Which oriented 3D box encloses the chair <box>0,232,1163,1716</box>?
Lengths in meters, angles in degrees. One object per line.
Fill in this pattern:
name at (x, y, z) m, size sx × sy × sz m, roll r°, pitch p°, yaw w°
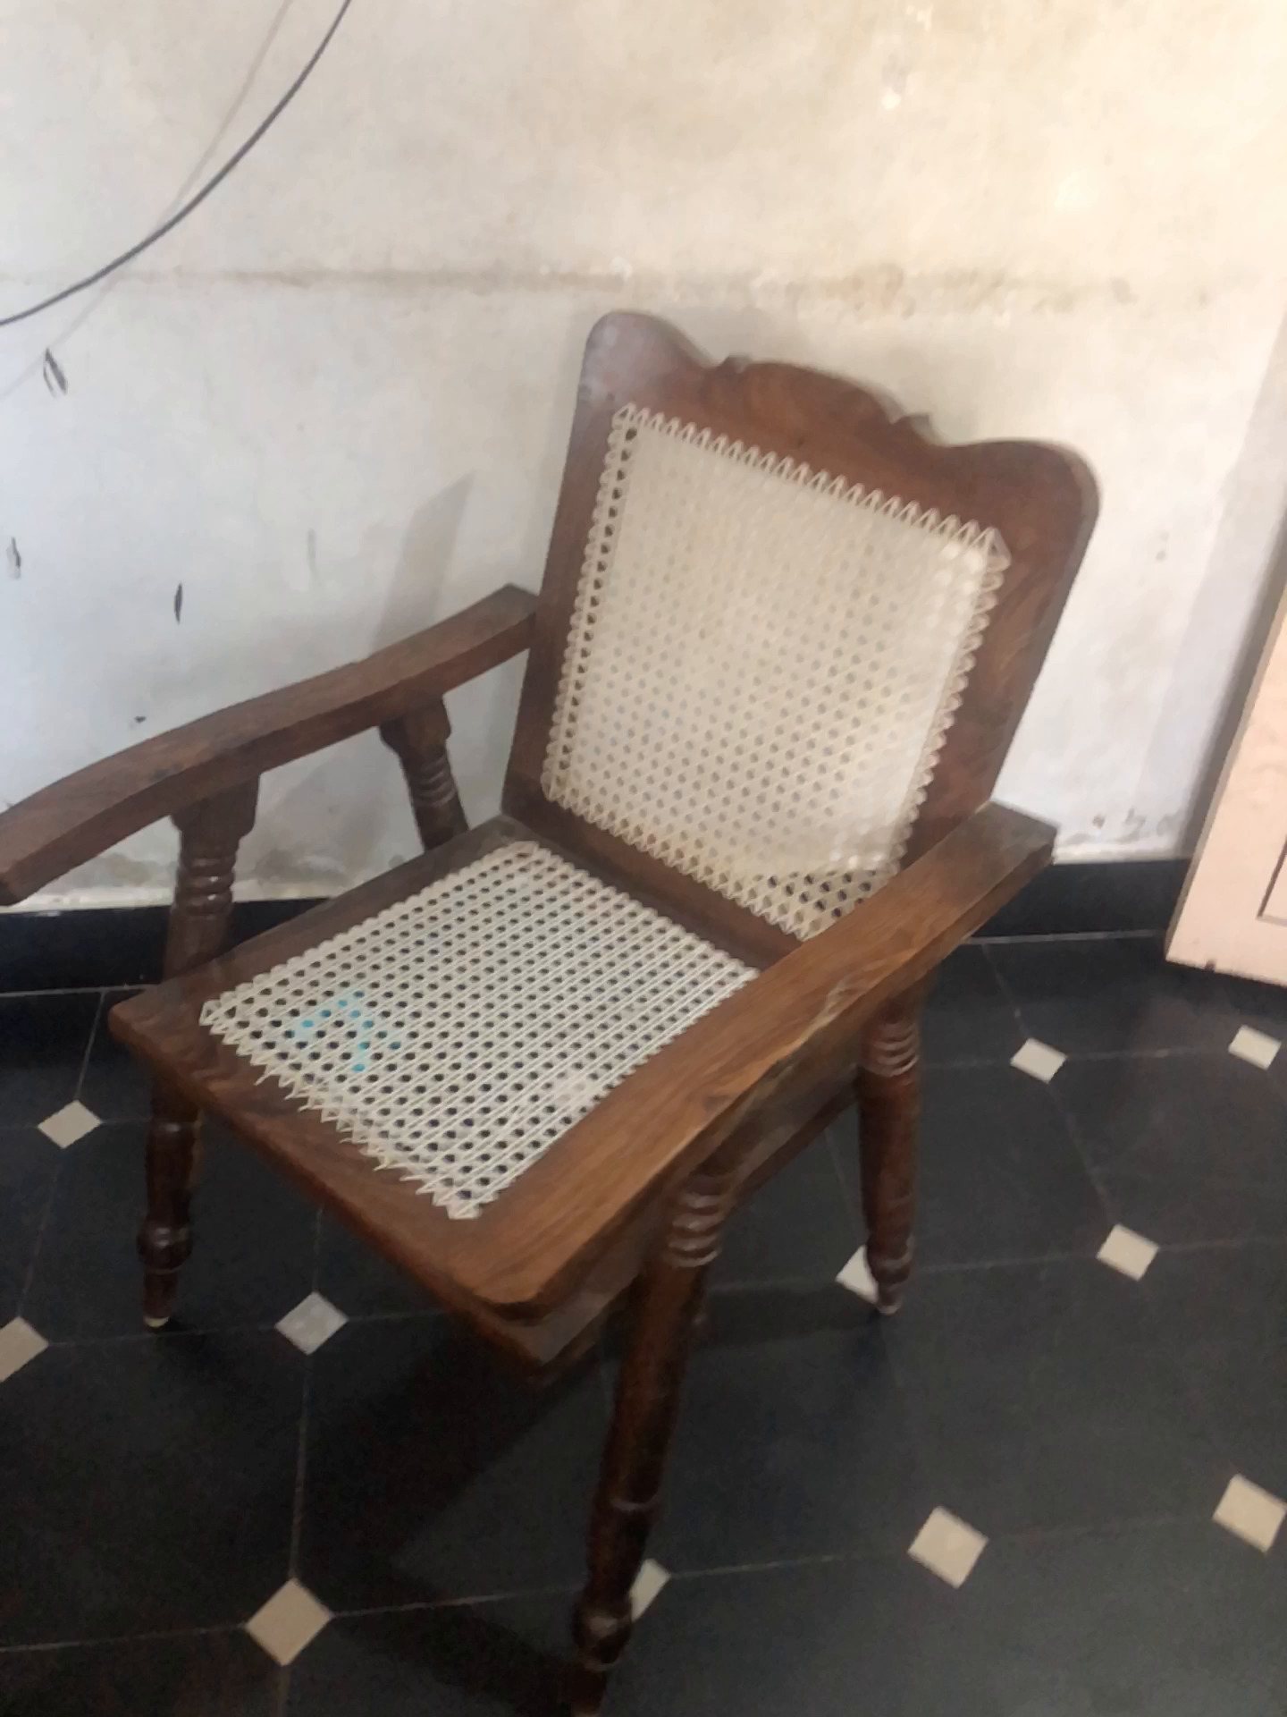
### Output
chair at (-0.097, 0.062, 1.062) m, size 0.580 × 0.796 × 0.563 m, roll 27°, pitch 44°, yaw 28°
